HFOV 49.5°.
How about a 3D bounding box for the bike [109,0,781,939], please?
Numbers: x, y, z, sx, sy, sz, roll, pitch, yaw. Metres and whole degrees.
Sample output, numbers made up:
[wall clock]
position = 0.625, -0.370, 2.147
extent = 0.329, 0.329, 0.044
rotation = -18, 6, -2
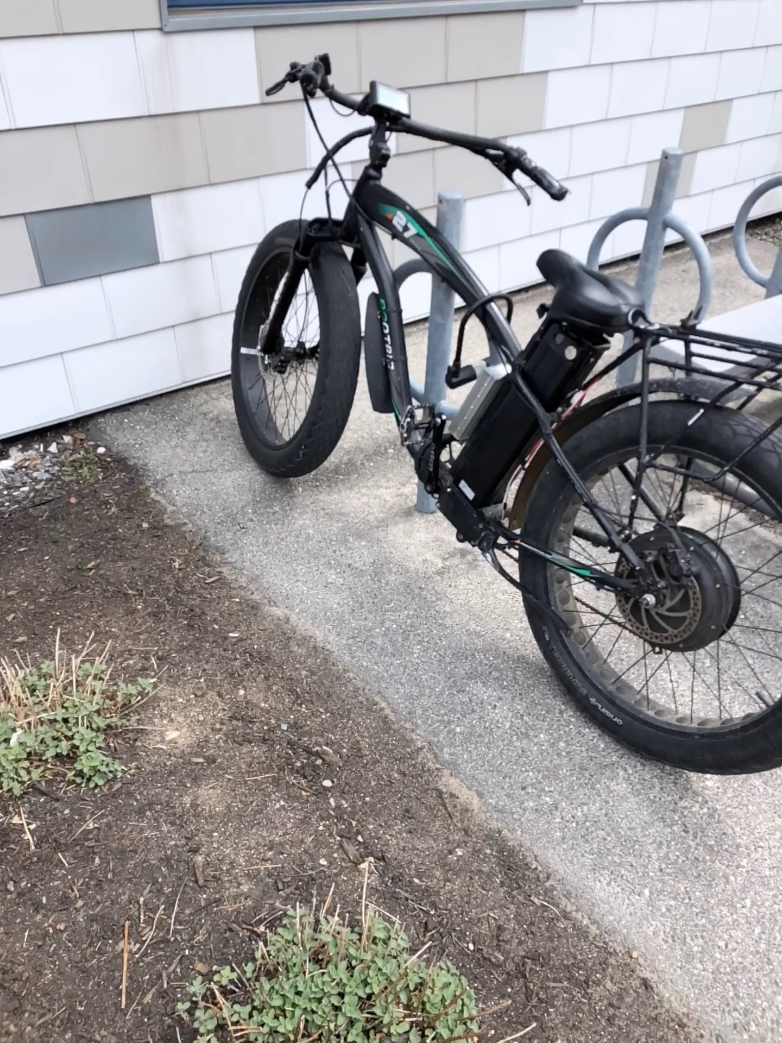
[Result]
[bike]
position = 0.285, -0.386, 1.916
extent = 0.914, 1.132, 1.863
rotation = -24, 47, -31
